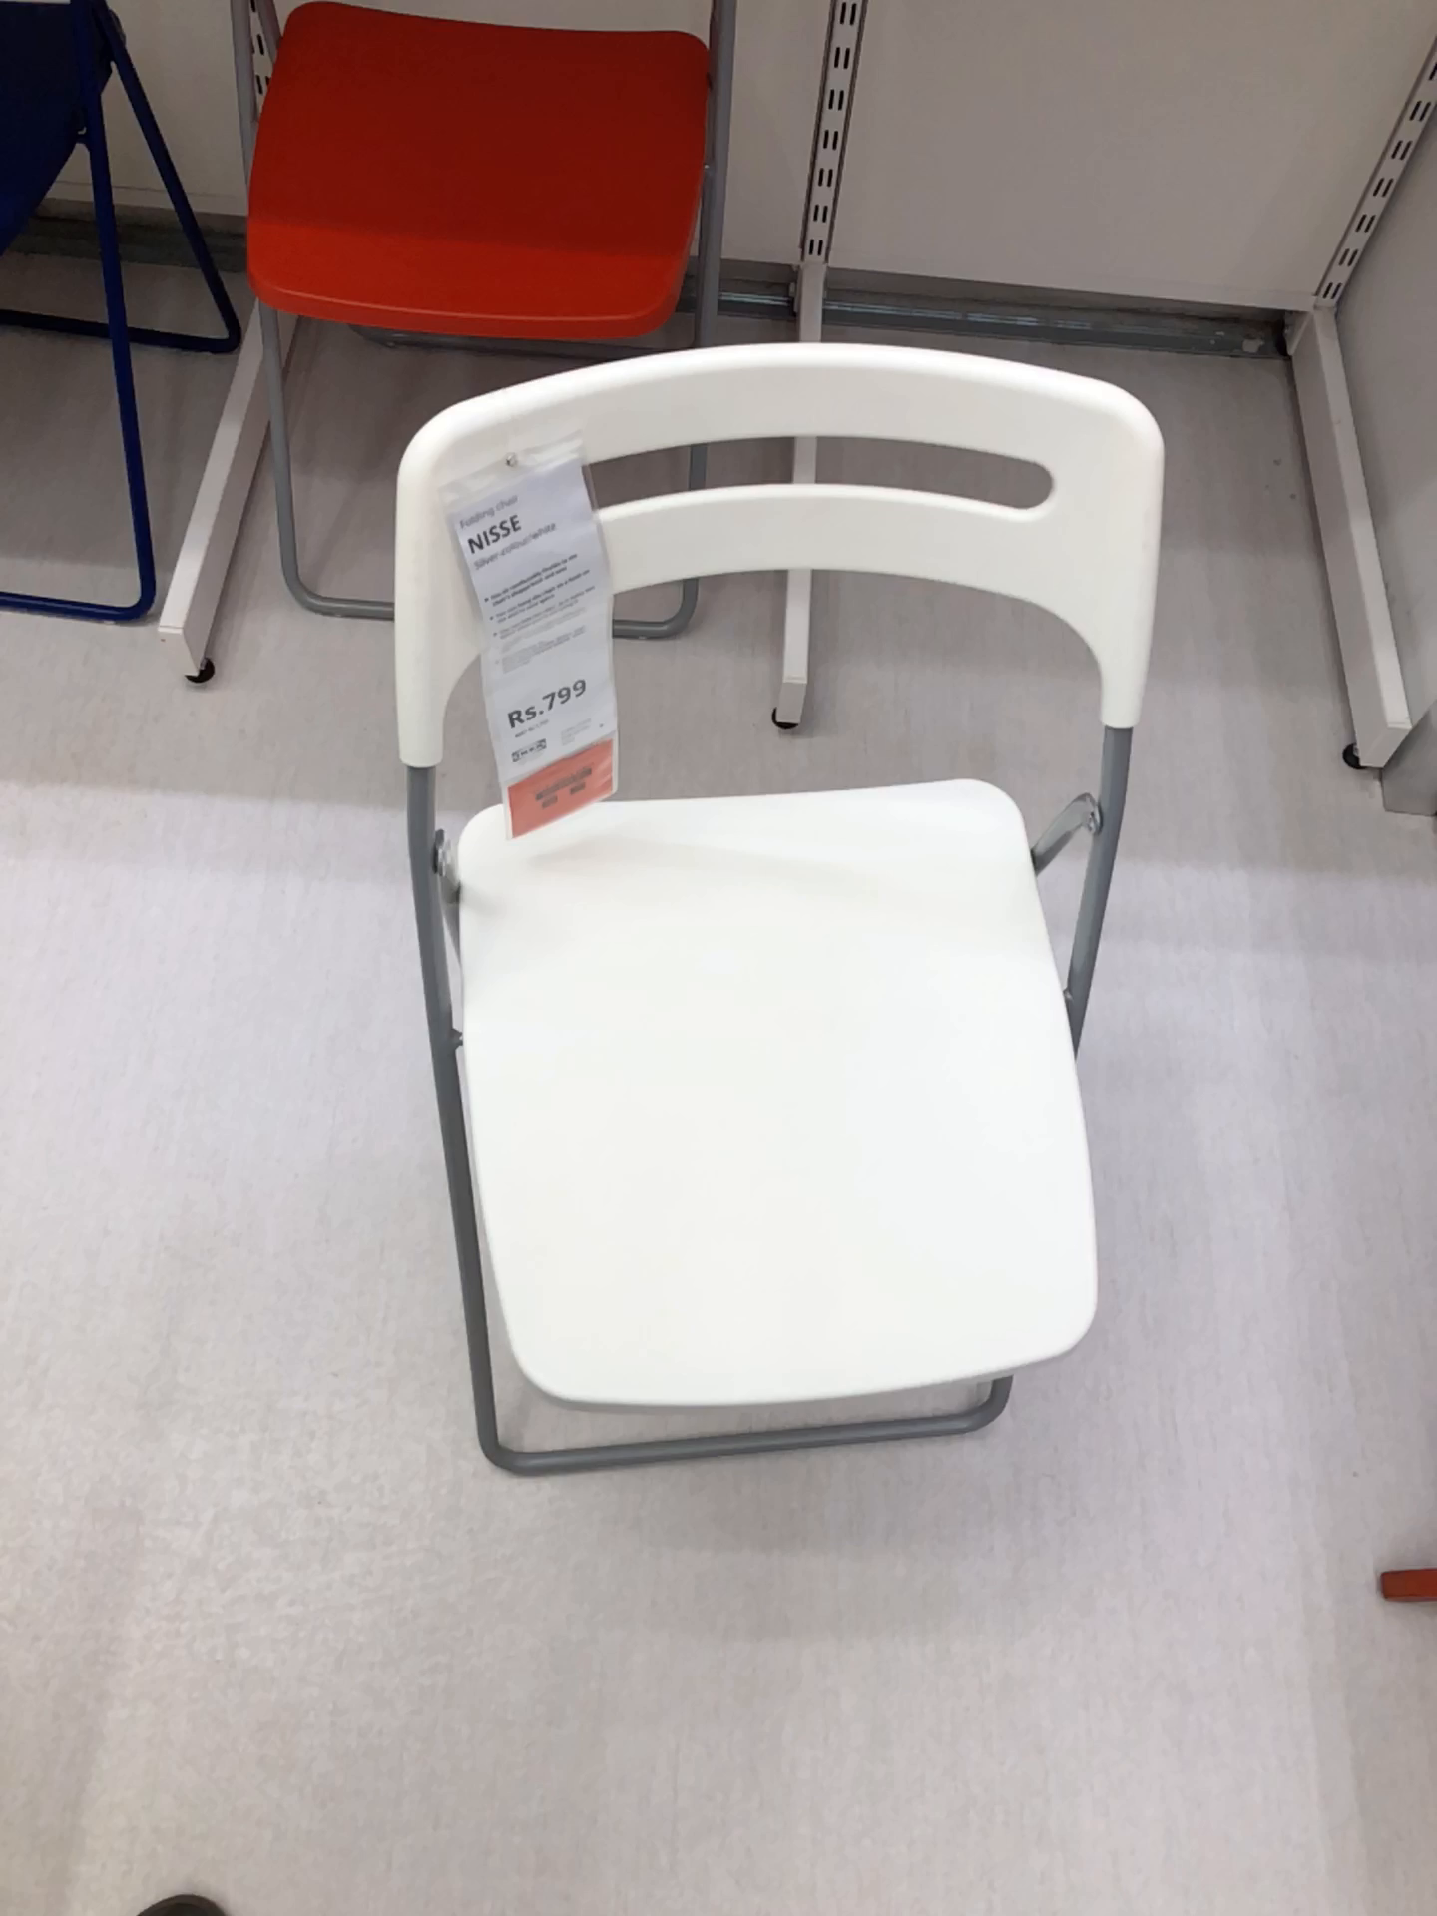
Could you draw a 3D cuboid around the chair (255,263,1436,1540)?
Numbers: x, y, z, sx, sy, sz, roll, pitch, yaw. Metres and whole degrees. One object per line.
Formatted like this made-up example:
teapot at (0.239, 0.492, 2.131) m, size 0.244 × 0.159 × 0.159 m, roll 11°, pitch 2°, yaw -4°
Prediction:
chair at (0.026, 0.022, 1.024) m, size 0.500 × 0.667 × 0.542 m, roll -4°, pitch 63°, yaw -6°
